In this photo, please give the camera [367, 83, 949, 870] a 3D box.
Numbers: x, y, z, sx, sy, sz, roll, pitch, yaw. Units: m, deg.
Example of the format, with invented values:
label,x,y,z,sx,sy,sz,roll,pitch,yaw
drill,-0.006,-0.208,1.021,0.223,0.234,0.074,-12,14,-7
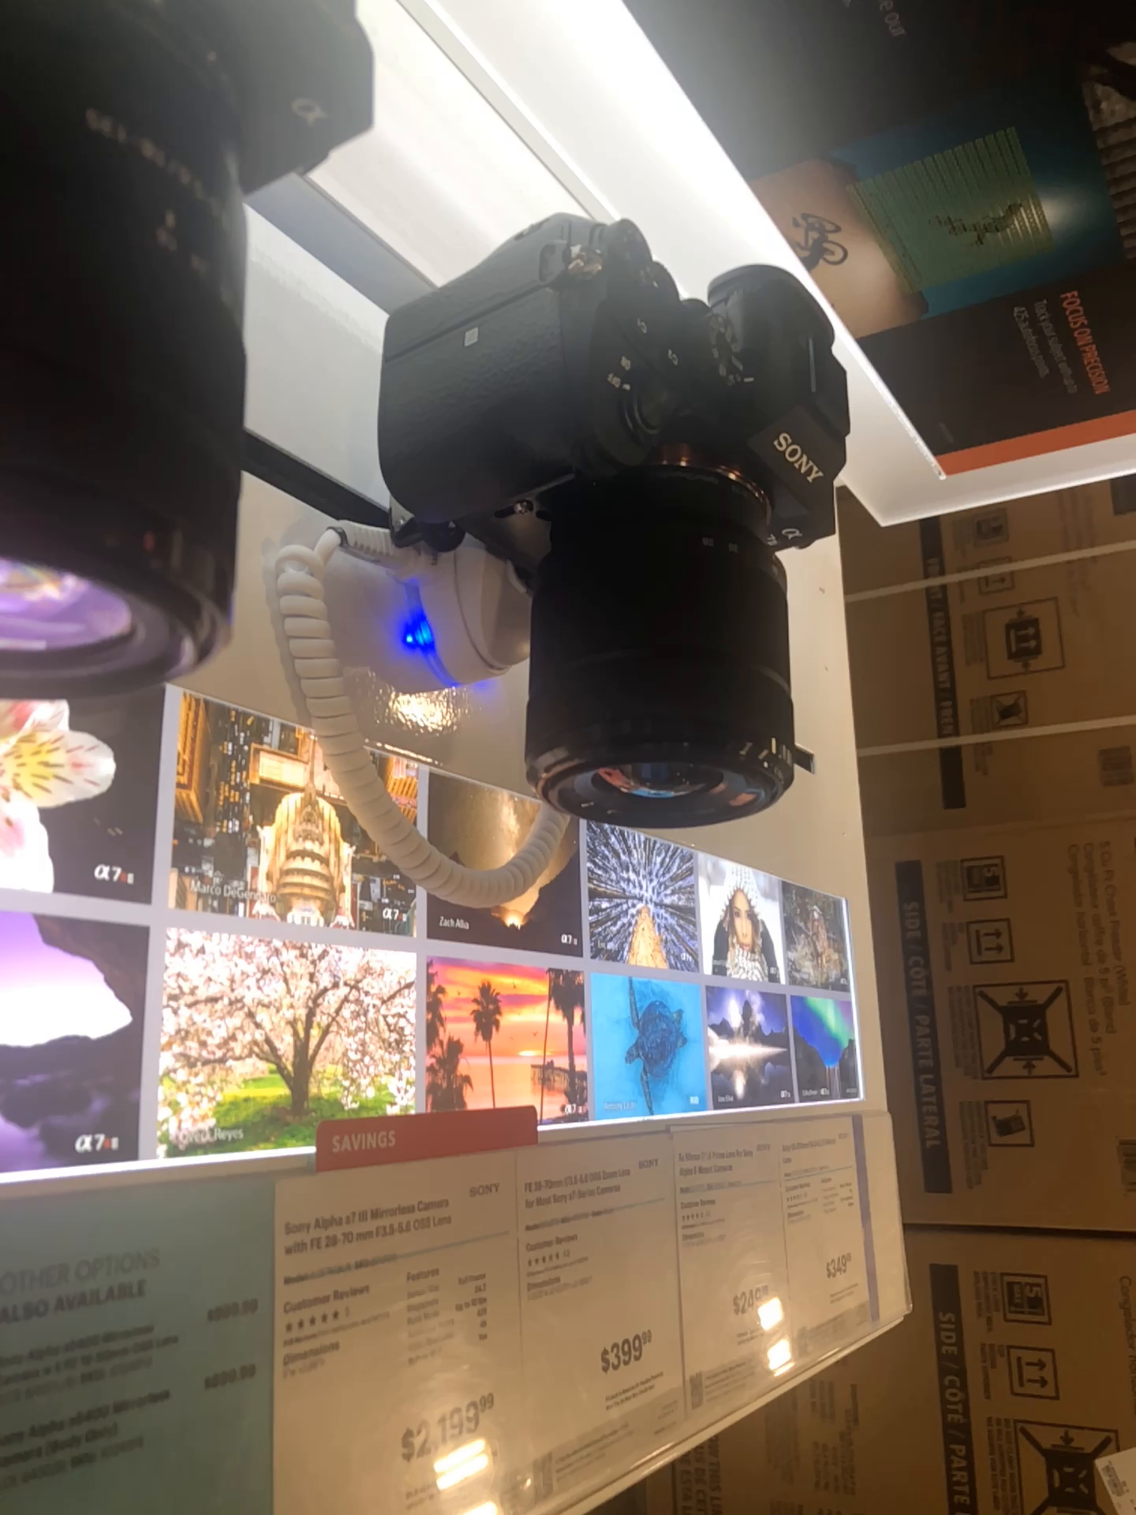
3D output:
label,x,y,z,sx,sy,sz,roll,pitch,yaw
camera,0.030,-0.053,0.327,0.141,0.089,0.140,22,63,-57
